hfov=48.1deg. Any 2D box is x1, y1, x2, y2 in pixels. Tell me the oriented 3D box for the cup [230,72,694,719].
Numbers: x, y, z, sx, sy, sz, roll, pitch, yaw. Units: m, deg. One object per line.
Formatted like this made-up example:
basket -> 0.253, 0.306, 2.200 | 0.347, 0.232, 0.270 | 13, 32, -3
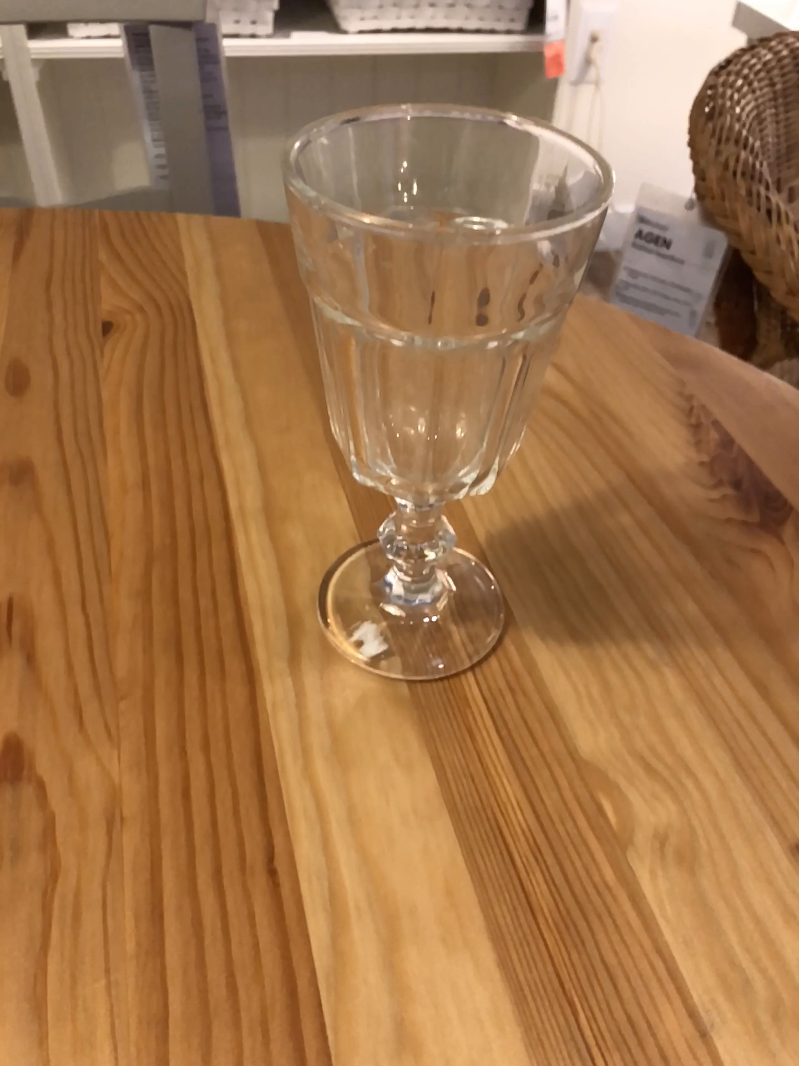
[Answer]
cup -> 0.015, -0.035, 0.247 | 0.080, 0.139, 0.080 | 2, 42, -2
